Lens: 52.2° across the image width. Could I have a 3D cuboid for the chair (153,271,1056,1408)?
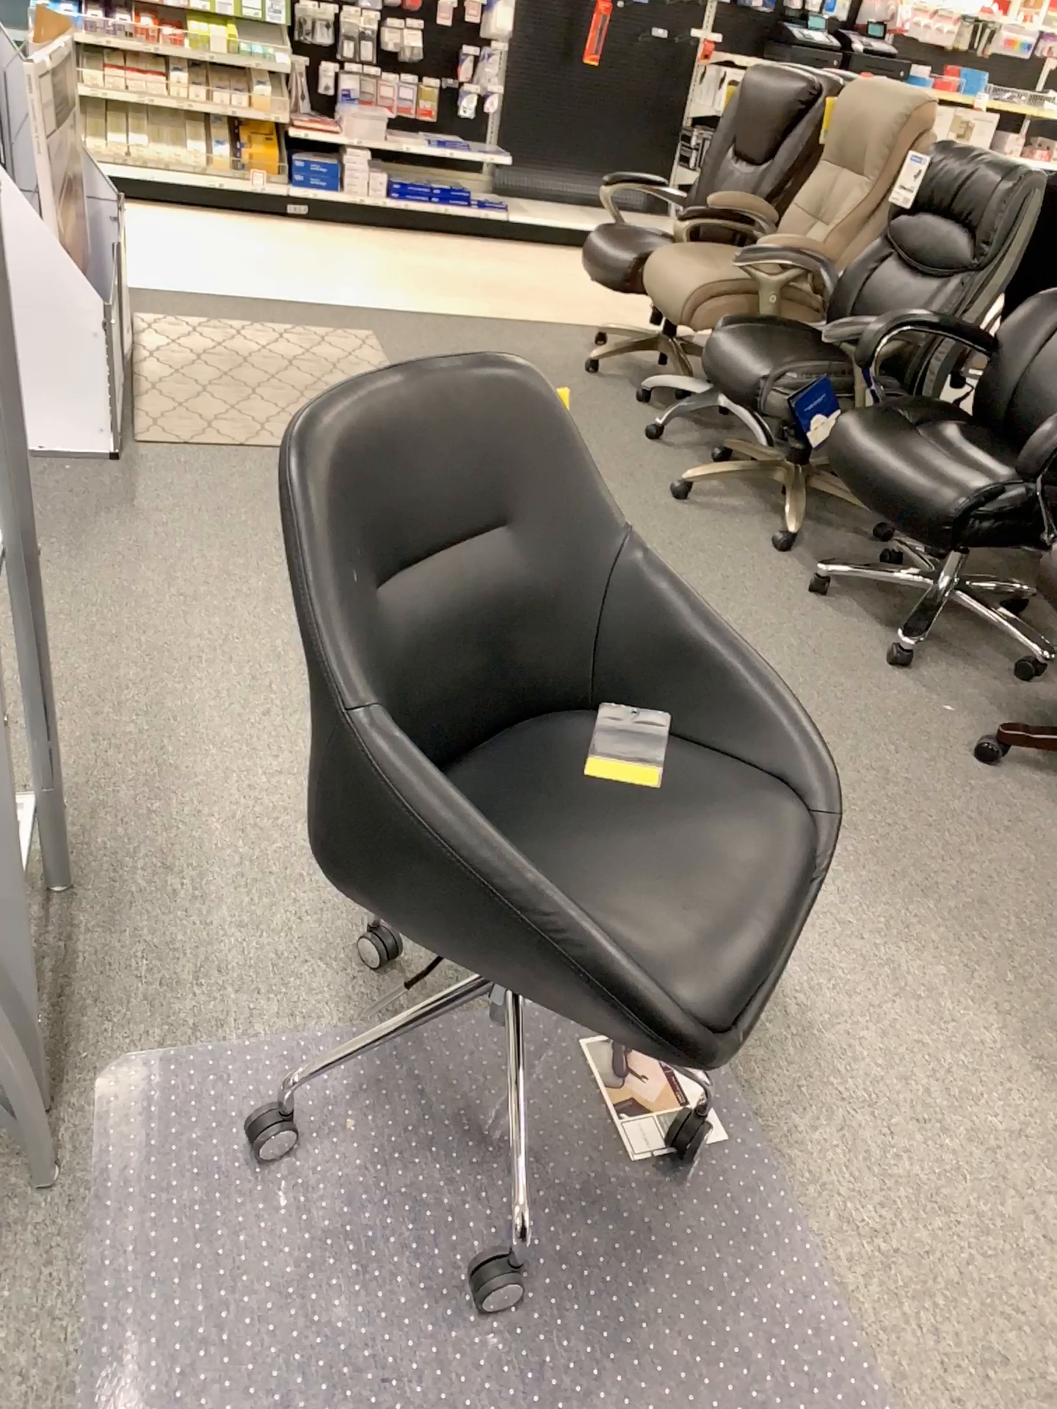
[{"bbox_3d":[0.079,0.098,1.204,0.621,0.885,0.673,24,36,18],"label":"chair"}]
